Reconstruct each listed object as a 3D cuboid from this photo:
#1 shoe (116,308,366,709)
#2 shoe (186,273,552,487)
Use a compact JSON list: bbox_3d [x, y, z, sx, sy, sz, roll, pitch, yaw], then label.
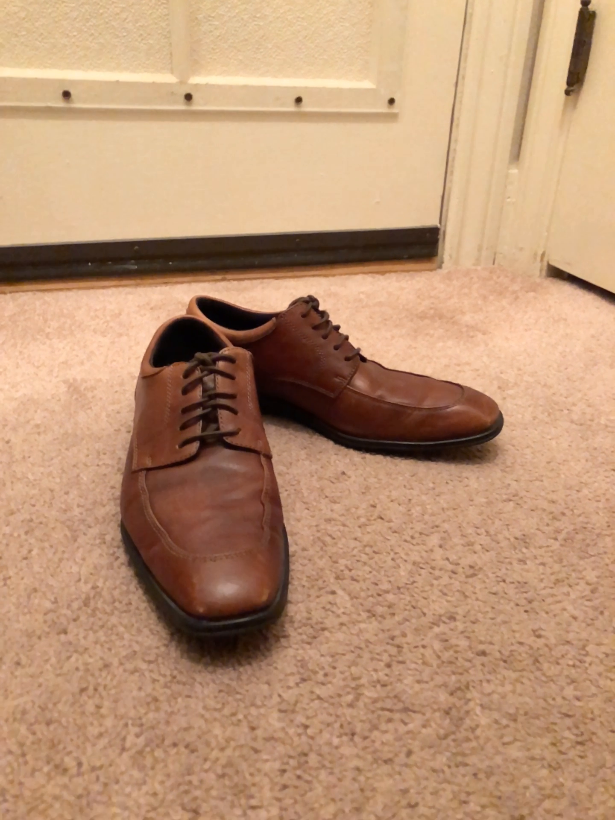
[{"bbox_3d":[-0.068,0.035,0.482,0.120,0.119,0.301,-5,28,-14],"label":"shoe"},{"bbox_3d":[0.050,-0.037,0.610,0.300,0.109,0.101,12,28,19],"label":"shoe"}]
